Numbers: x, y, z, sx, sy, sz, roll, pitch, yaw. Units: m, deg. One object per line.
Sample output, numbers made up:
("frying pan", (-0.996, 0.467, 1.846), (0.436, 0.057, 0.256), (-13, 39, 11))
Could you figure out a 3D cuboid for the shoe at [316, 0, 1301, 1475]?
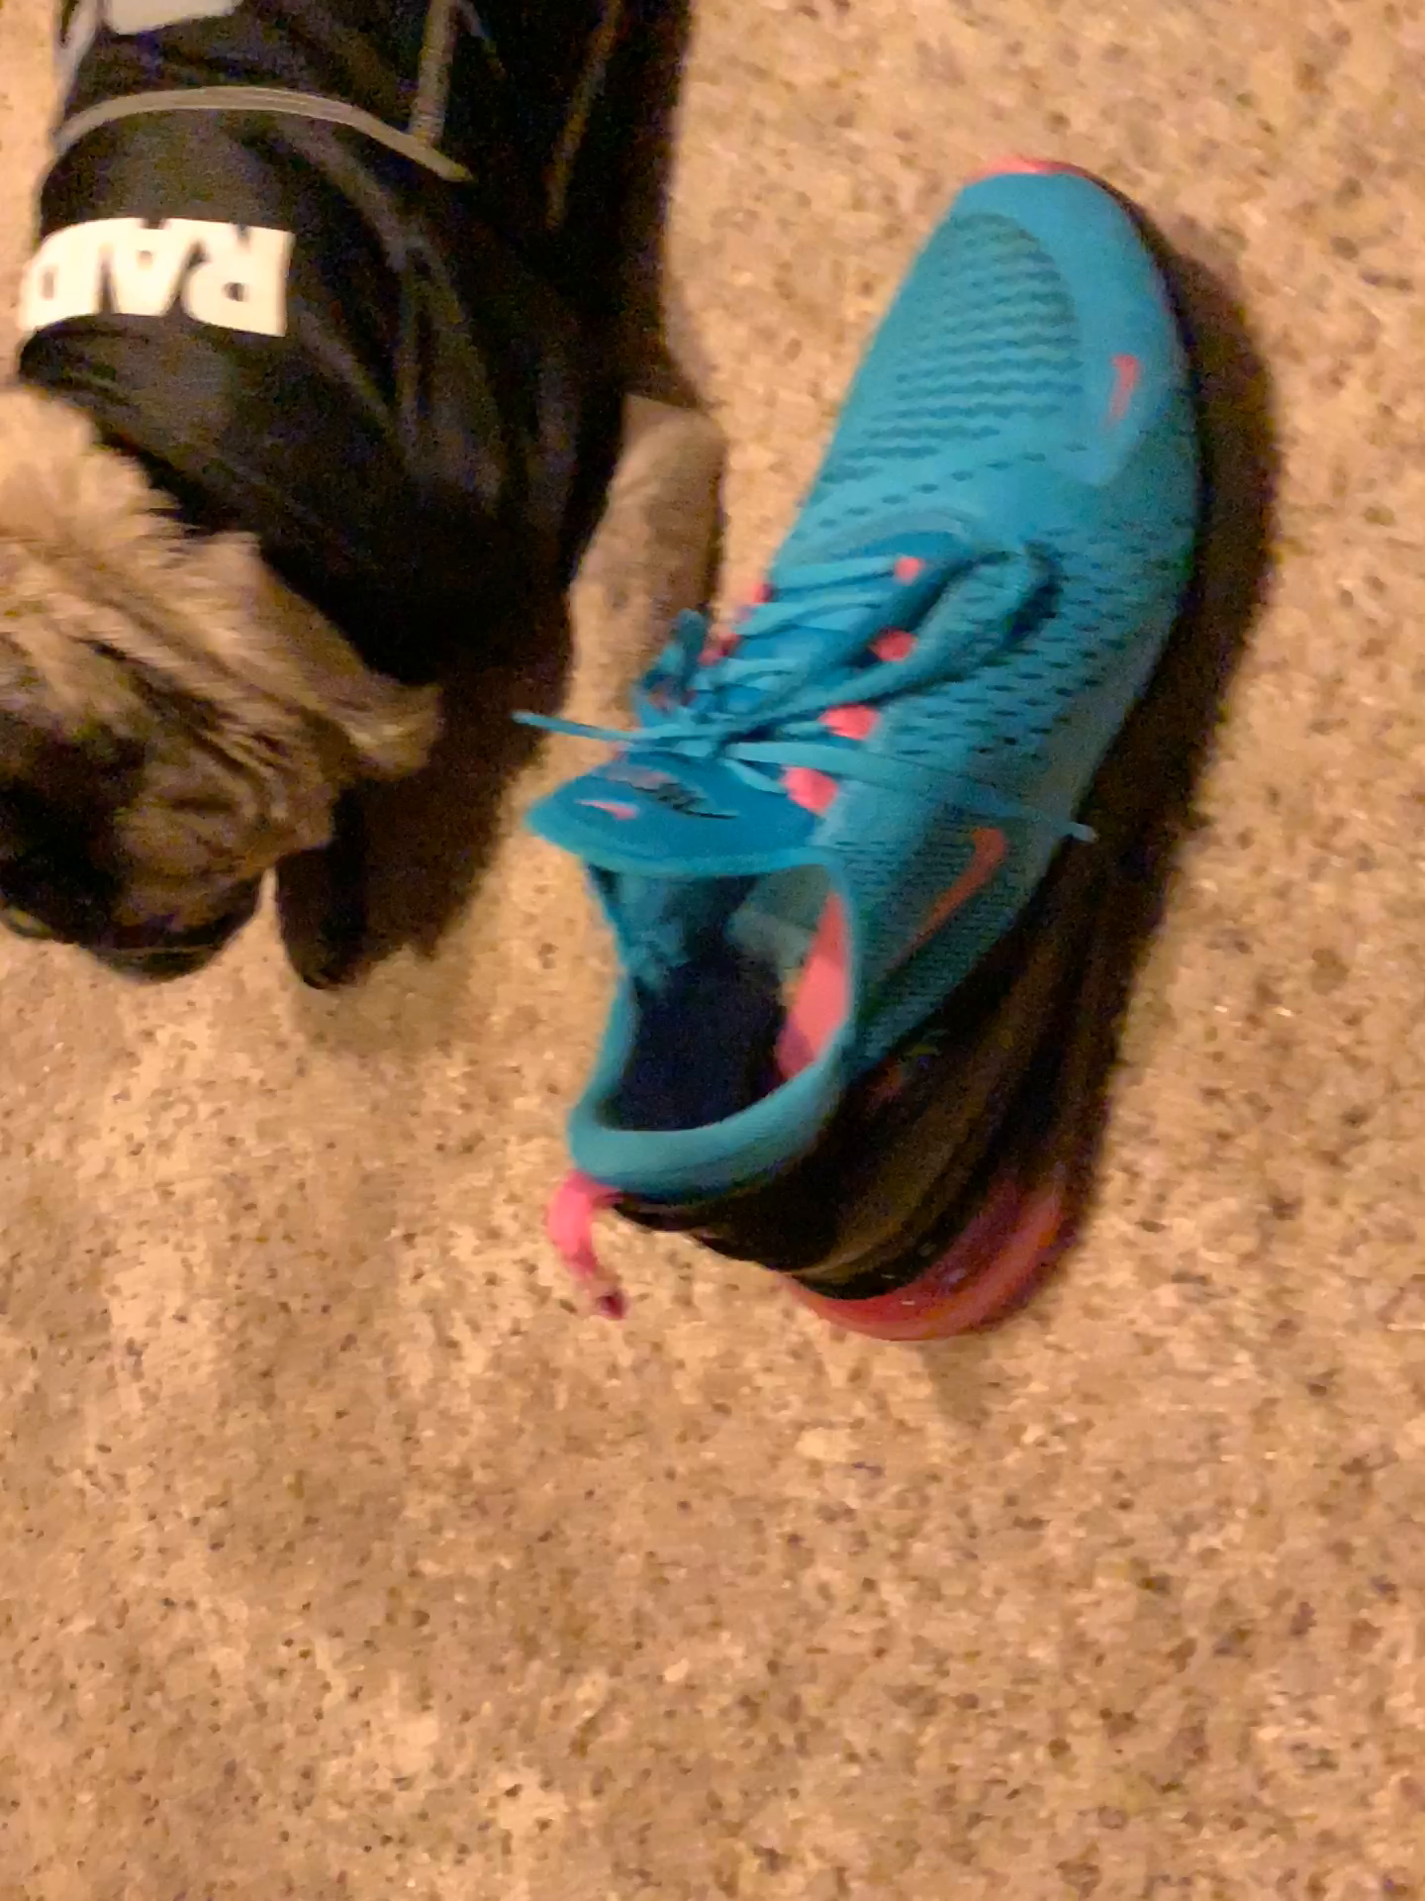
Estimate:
("shoe", (0.026, -0.065, 0.405), (0.130, 0.140, 0.340), (11, 91, 44))
